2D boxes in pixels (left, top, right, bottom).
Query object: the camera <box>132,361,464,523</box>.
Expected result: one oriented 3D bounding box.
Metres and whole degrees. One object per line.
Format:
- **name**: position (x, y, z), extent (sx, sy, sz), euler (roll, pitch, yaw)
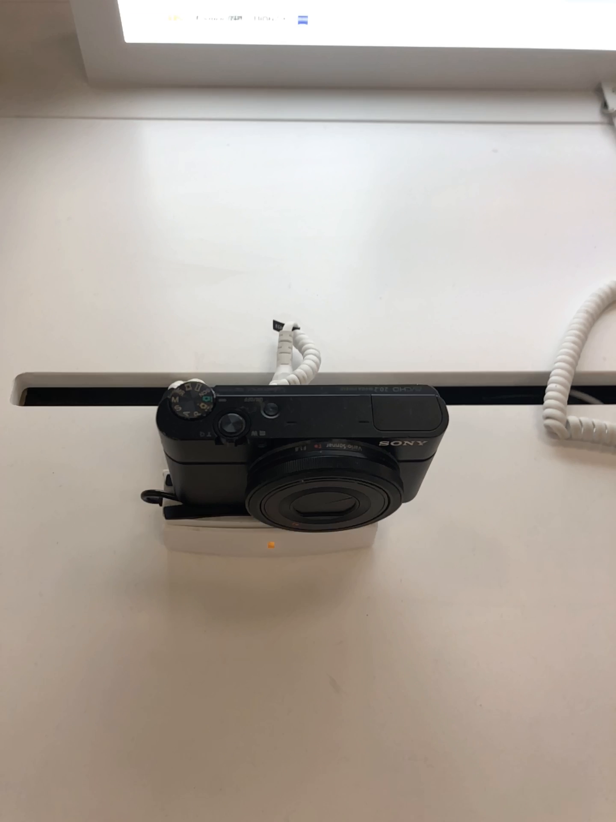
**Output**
- **camera**: position (-0.004, 0.015, 0.265), extent (0.110, 0.070, 0.030), euler (0, 57, -2)
